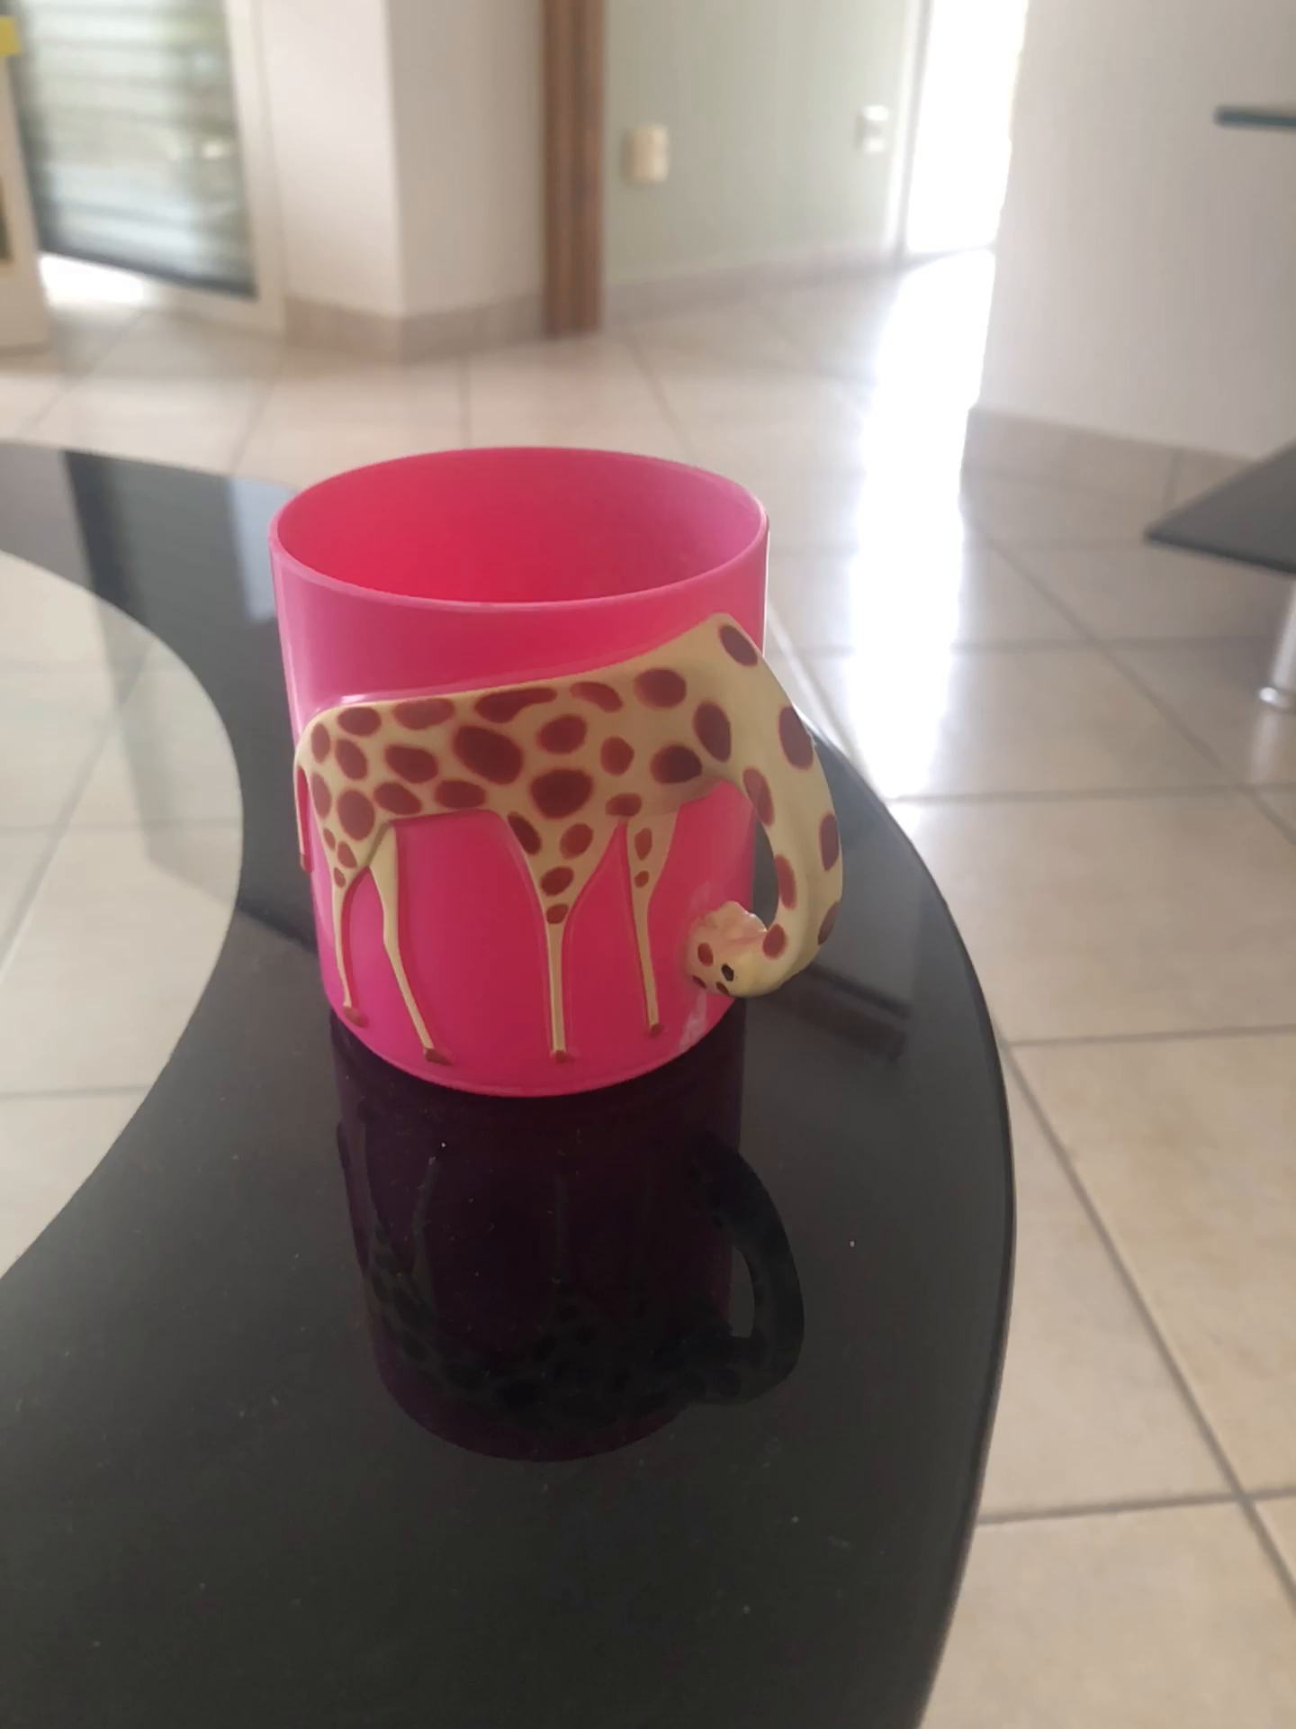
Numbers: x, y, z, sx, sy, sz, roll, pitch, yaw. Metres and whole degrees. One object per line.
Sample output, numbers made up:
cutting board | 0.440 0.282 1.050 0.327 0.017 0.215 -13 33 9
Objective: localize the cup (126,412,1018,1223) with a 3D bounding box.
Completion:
cup | -0.008 -0.015 0.202 0.090 0.070 0.070 18 34 26
